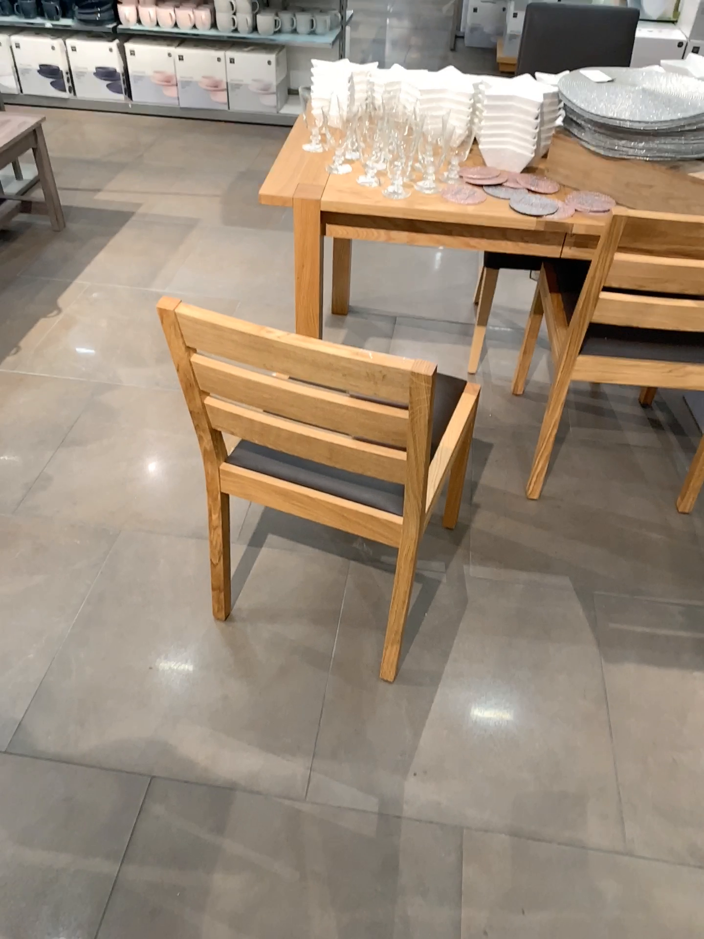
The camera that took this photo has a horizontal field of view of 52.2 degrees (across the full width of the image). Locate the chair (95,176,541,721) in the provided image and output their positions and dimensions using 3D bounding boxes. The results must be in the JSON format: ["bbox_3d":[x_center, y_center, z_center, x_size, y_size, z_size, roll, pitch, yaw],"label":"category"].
[{"bbox_3d":[-0.030,-0.043,1.461,0.563,0.815,0.568,16,43,14],"label":"chair"}]
